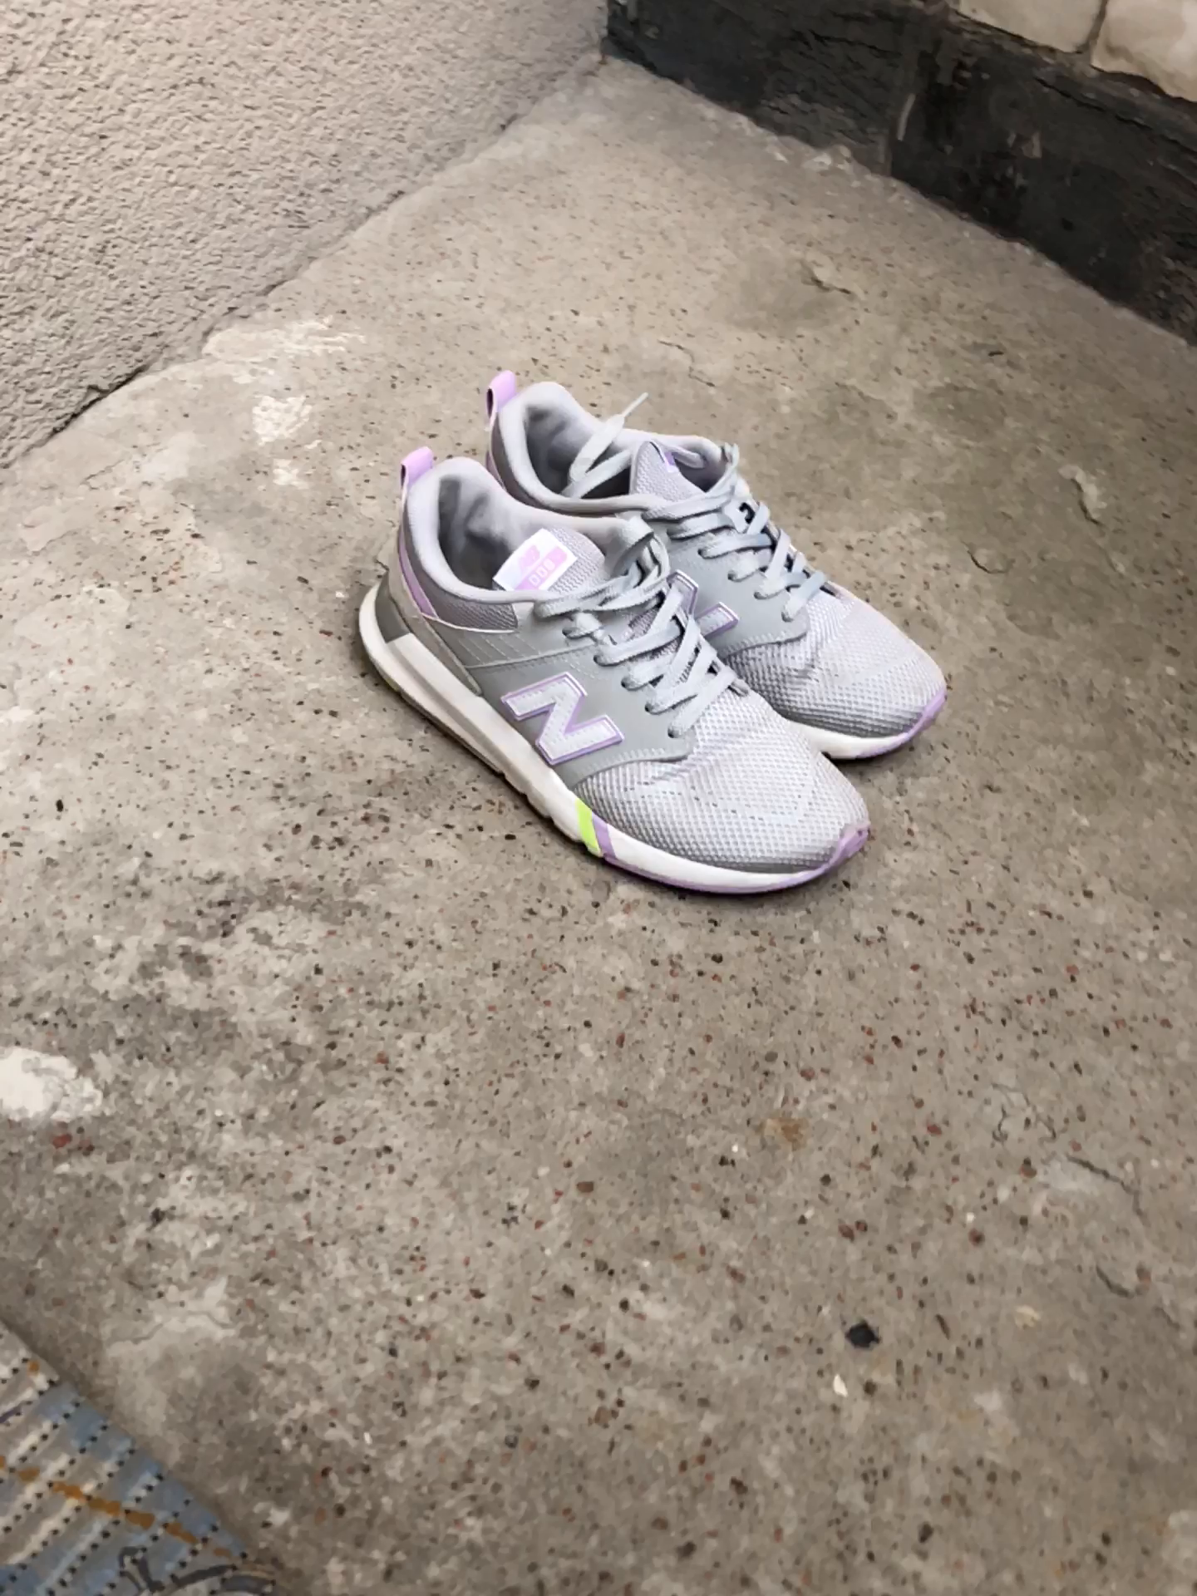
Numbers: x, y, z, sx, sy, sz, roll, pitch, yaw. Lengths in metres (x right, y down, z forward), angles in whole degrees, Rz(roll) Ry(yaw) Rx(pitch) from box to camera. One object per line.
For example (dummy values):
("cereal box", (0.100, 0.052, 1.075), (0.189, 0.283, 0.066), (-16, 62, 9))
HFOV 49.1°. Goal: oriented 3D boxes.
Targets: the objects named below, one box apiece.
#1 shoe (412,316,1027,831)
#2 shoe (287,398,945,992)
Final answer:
("shoe", (0.048, -0.118, 0.642), (0.271, 0.099, 0.111), (33, 52, 19))
("shoe", (-0.003, -0.055, 0.585), (0.271, 0.099, 0.110), (36, 53, 21))
